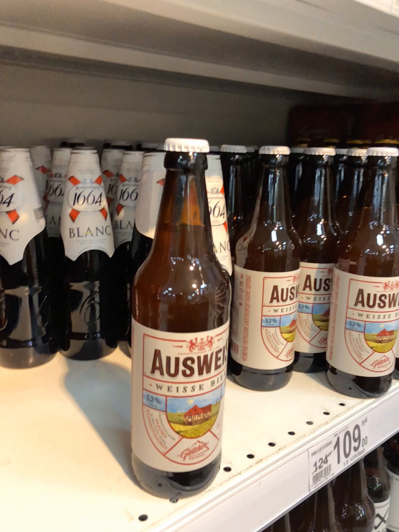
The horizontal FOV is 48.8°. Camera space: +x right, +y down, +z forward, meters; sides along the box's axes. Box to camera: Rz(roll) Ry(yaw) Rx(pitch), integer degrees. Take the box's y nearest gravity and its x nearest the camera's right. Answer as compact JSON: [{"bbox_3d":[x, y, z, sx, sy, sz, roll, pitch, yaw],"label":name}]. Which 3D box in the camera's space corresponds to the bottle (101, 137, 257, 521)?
[{"bbox_3d":[-0.018,0.039,0.315,0.080,0.249,0.070,-6,16,-25],"label":"bottle"}]
